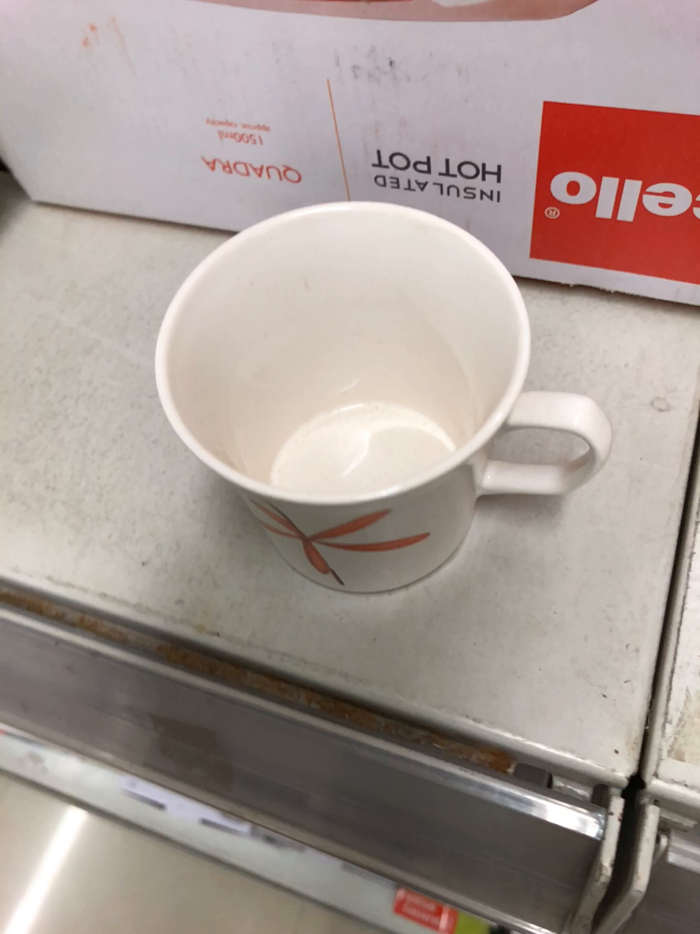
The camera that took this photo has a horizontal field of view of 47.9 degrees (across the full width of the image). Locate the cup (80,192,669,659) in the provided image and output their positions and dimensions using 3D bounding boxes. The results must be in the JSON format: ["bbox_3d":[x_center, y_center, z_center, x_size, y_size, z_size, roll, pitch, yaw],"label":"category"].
[{"bbox_3d":[0.011,-0.008,0.178,0.100,0.070,0.070,6,62,11],"label":"cup"}]
